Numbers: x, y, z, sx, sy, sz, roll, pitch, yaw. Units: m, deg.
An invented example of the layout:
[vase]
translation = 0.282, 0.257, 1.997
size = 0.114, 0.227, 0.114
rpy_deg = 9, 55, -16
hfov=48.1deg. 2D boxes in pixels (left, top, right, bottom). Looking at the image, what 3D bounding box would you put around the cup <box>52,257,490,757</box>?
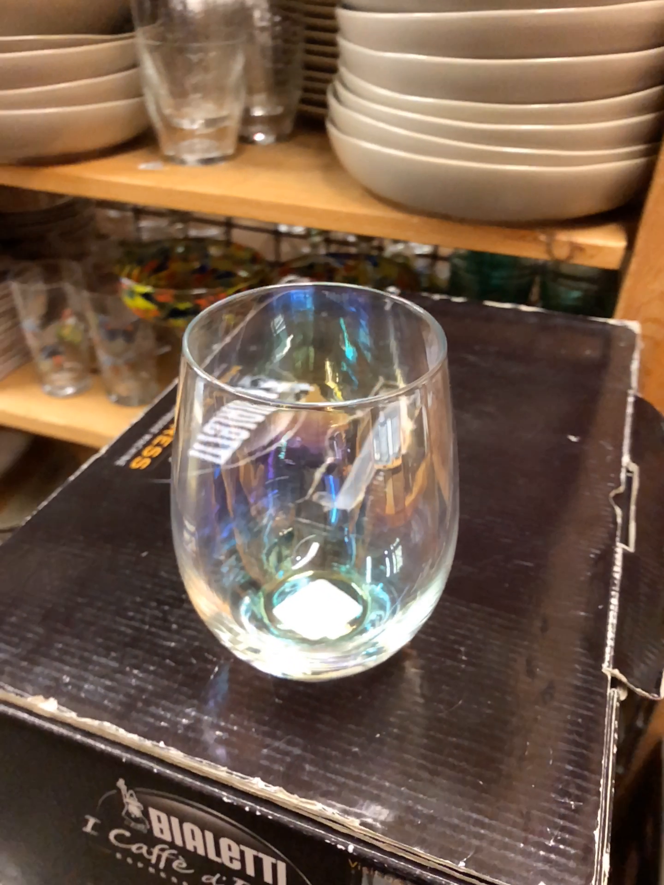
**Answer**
[cup]
translation = -0.011, 0.015, 0.235
size = 0.093, 0.107, 0.090
rpy_deg = 1, 35, -1
